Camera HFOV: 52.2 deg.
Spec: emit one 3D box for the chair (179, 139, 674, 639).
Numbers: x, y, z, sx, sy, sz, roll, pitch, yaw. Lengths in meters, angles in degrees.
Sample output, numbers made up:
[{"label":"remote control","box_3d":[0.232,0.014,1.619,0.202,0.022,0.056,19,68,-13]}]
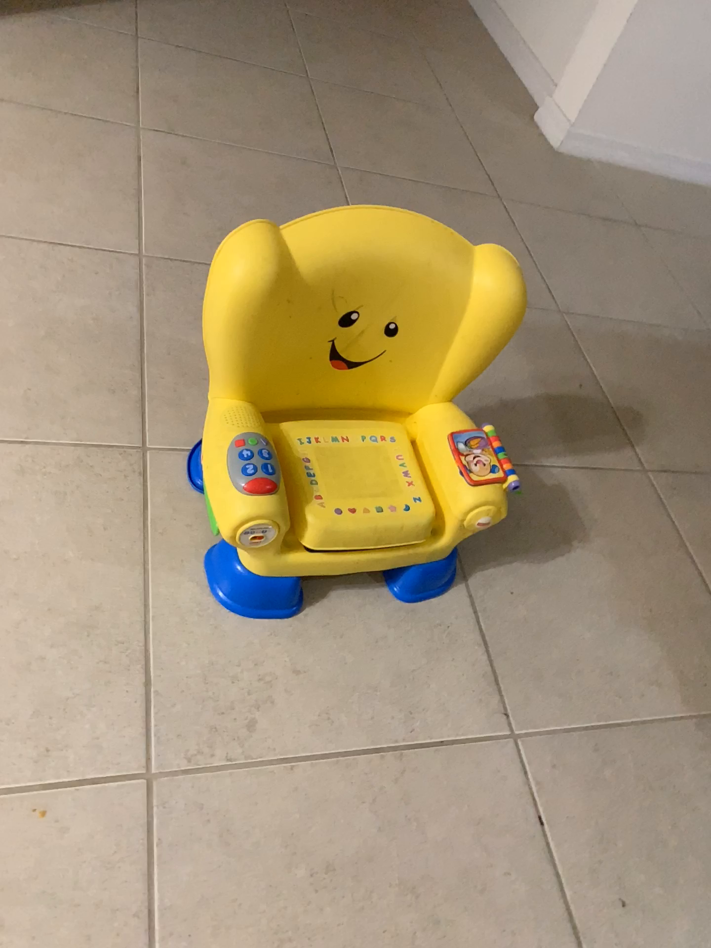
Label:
[{"label":"chair","box_3d":[0.025,-0.081,0.965,0.421,0.485,0.373,0,52,-22]}]
